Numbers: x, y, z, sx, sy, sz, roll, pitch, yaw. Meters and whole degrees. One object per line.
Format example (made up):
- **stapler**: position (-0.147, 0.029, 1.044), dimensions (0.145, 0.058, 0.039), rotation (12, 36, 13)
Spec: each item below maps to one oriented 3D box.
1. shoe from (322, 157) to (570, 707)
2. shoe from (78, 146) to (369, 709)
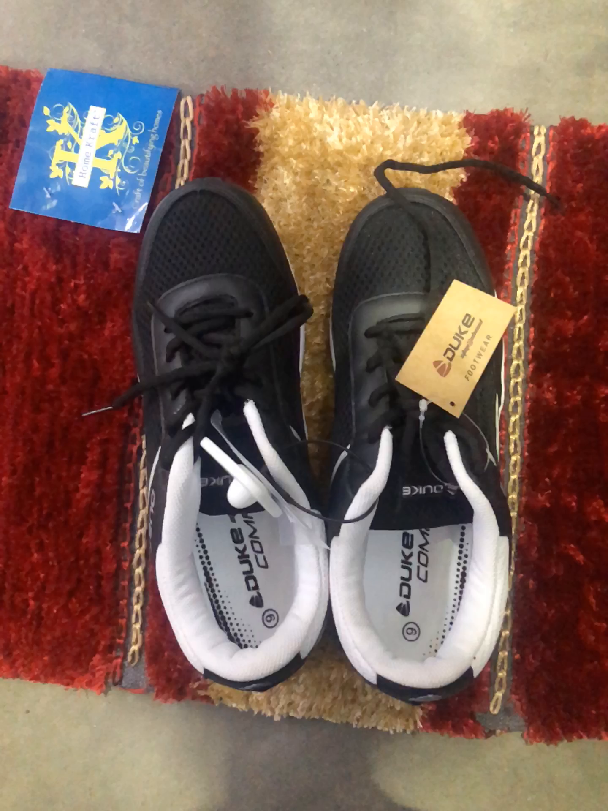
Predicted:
- **shoe**: position (0.068, 0.010, 0.344), dimensions (0.110, 0.070, 0.250), rotation (2, 86, 1)
- **shoe**: position (-0.037, 0.009, 0.335), dimensions (0.100, 0.070, 0.240), rotation (-8, 85, 0)
